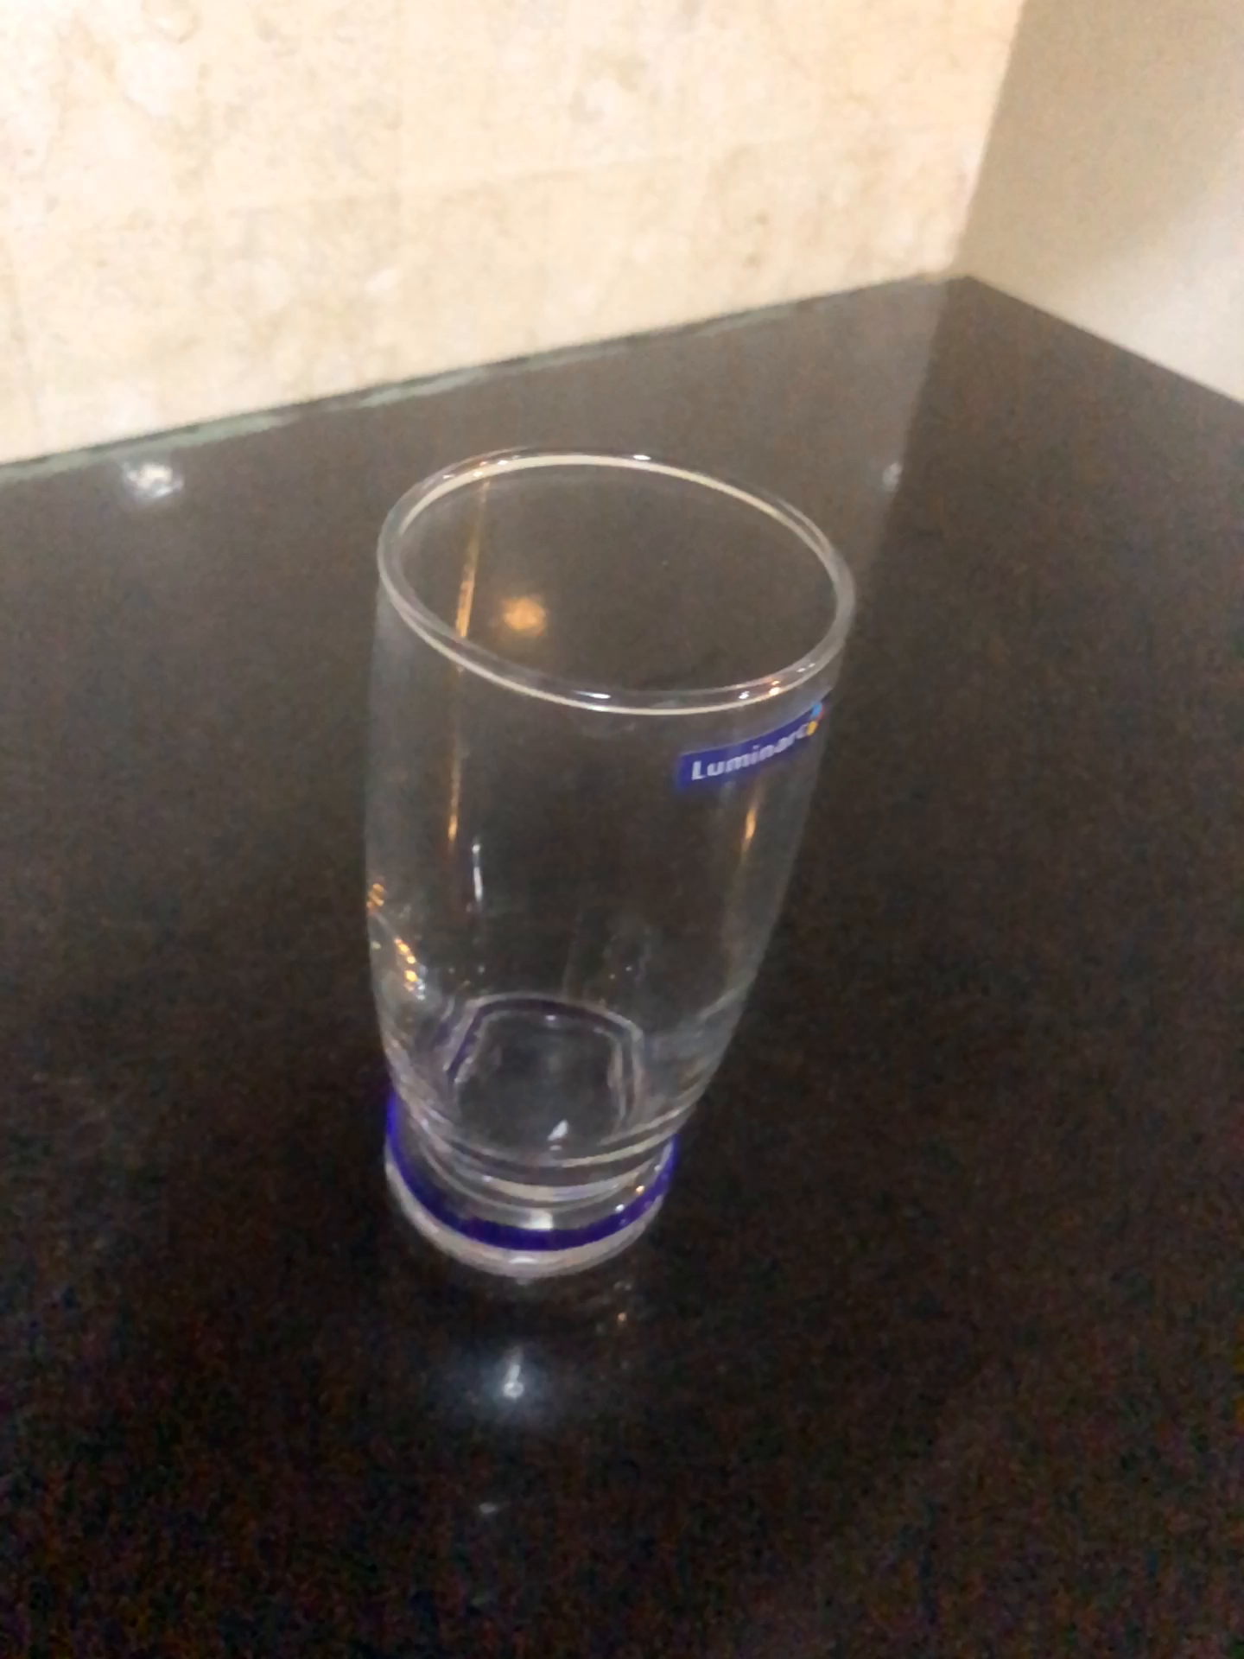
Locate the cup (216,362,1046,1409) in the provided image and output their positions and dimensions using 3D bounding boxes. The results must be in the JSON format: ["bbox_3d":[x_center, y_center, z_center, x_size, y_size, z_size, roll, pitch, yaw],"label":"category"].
[{"bbox_3d":[-0.004,0.009,0.229,0.080,0.129,0.080,5,40,-4],"label":"cup"}]
